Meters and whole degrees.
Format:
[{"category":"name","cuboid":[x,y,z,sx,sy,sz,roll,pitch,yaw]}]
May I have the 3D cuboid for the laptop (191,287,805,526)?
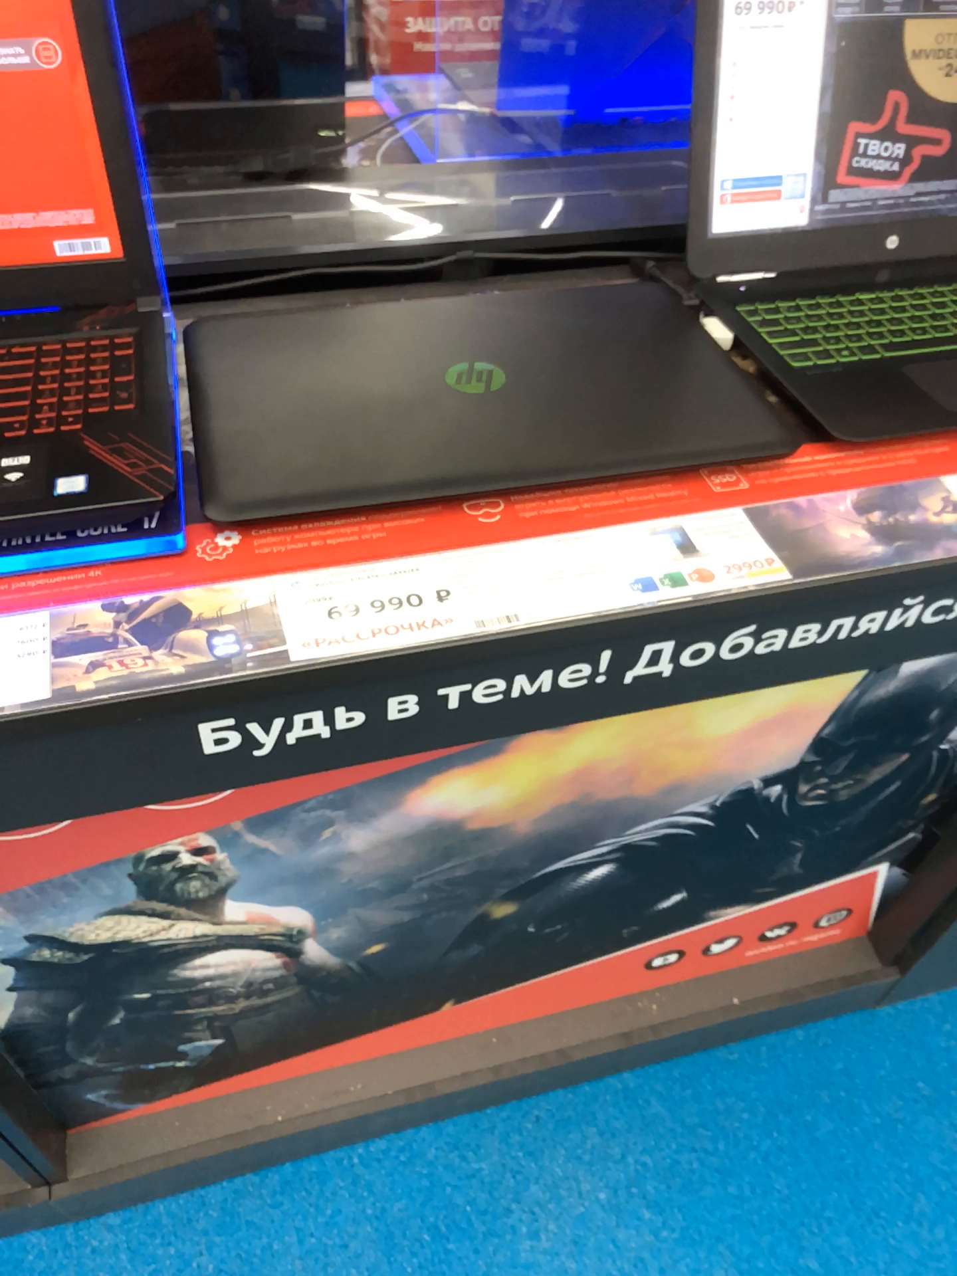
[{"category":"laptop","cuboid":[0.001,-0.170,0.716,0.365,0.012,0.234,-8,45,-12]}]
